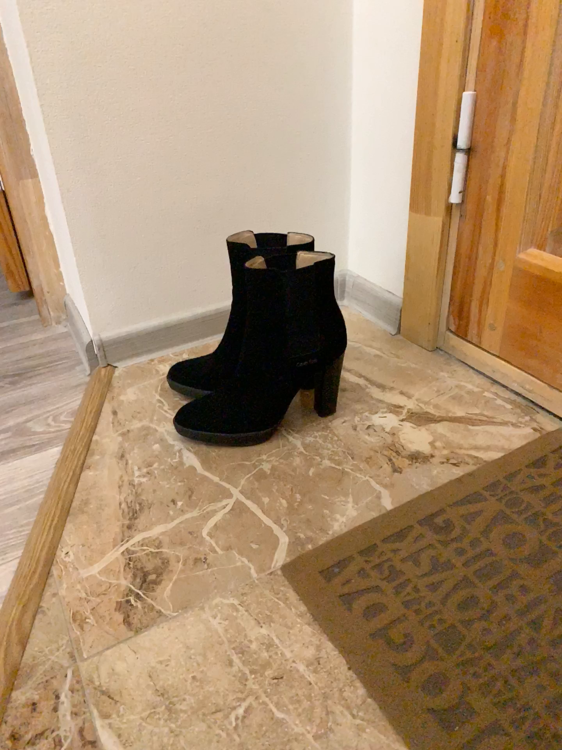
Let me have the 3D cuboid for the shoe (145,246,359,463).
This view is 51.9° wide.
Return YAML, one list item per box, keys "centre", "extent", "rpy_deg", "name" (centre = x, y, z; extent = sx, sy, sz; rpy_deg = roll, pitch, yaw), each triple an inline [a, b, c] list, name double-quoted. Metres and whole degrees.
- centre: [-0.029, -0.025, 0.669]
  extent: [0.214, 0.198, 0.087]
  rpy_deg: [-11, 31, -14]
  name: "shoe"

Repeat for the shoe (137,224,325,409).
- centre: [-0.058, -0.075, 0.745]
  extent: [0.214, 0.198, 0.087]
  rpy_deg: [-6, 31, -6]
  name: "shoe"
